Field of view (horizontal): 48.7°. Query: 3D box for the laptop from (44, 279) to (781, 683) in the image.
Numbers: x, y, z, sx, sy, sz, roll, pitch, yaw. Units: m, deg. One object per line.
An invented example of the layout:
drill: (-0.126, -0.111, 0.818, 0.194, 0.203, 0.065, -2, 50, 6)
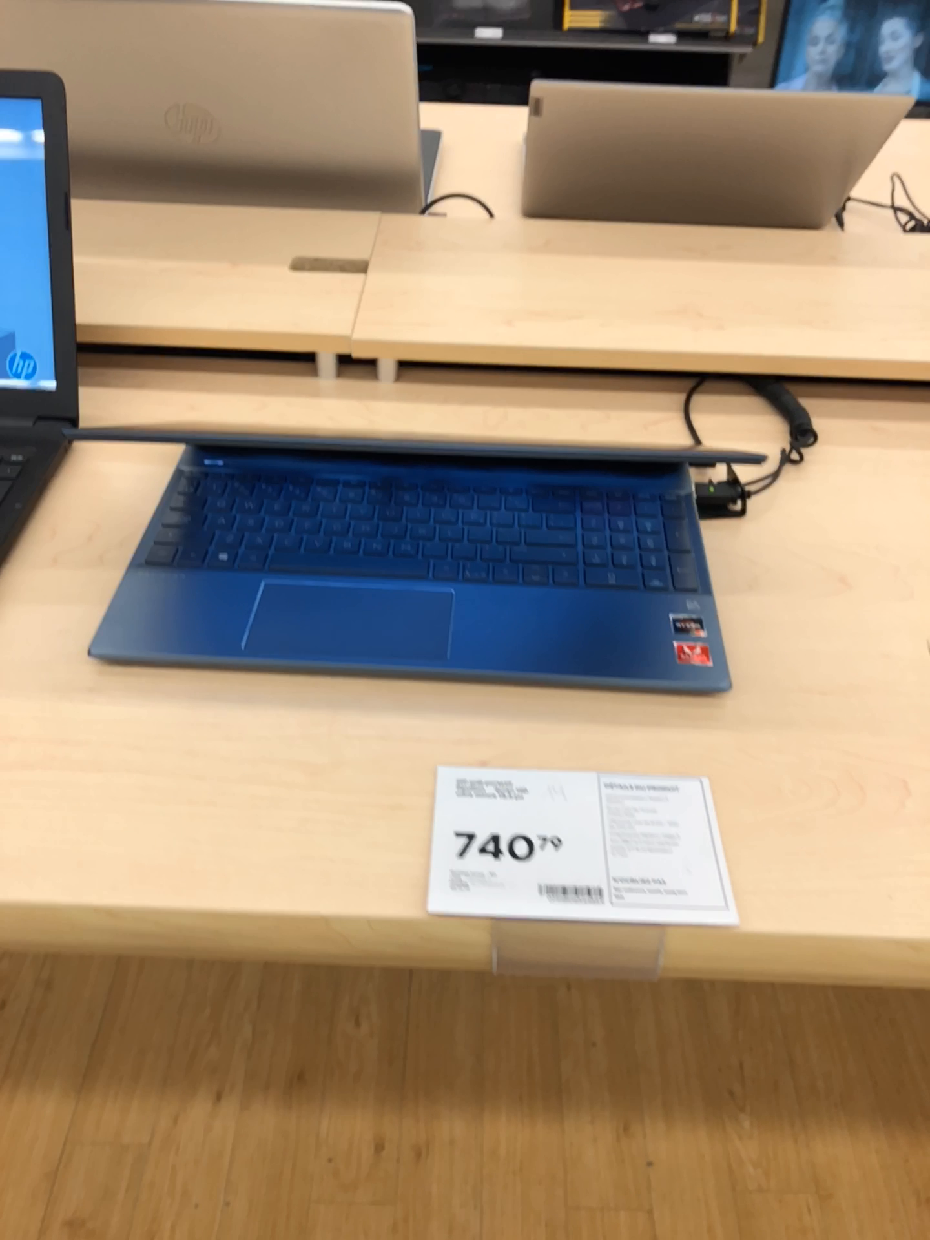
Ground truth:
laptop: (-0.022, -0.089, 0.603, 0.349, 0.119, 0.210, 3, 42, 1)
